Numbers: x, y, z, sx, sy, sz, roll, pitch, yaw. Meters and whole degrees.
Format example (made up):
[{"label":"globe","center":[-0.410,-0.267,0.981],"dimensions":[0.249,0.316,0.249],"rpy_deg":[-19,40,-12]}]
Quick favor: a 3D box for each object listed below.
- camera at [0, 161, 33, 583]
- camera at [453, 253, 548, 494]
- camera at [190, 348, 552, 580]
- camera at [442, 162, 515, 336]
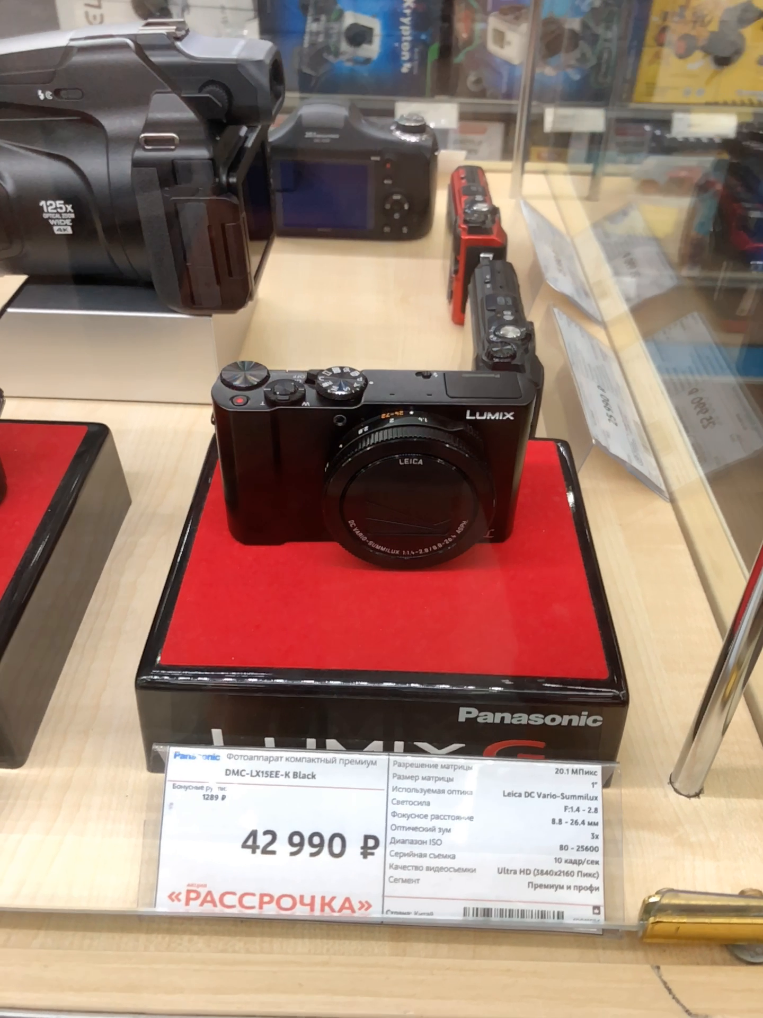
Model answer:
[{"label":"camera","center":[-0.191,-0.041,0.270],"dimensions":[0.110,0.112,0.066],"rpy_deg":[1,39,0]},{"label":"camera","center":[0.056,-0.071,0.425],"dimensions":[0.033,0.072,0.111],"rpy_deg":[3,39,1]},{"label":"camera","center":[-0.004,-0.015,0.294],"dimensions":[0.110,0.070,0.040],"rpy_deg":[0,39,-2]},{"label":"camera","center":[0.061,-0.172,0.555],"dimensions":[0.033,0.072,0.111],"rpy_deg":[2,39,0]}]
